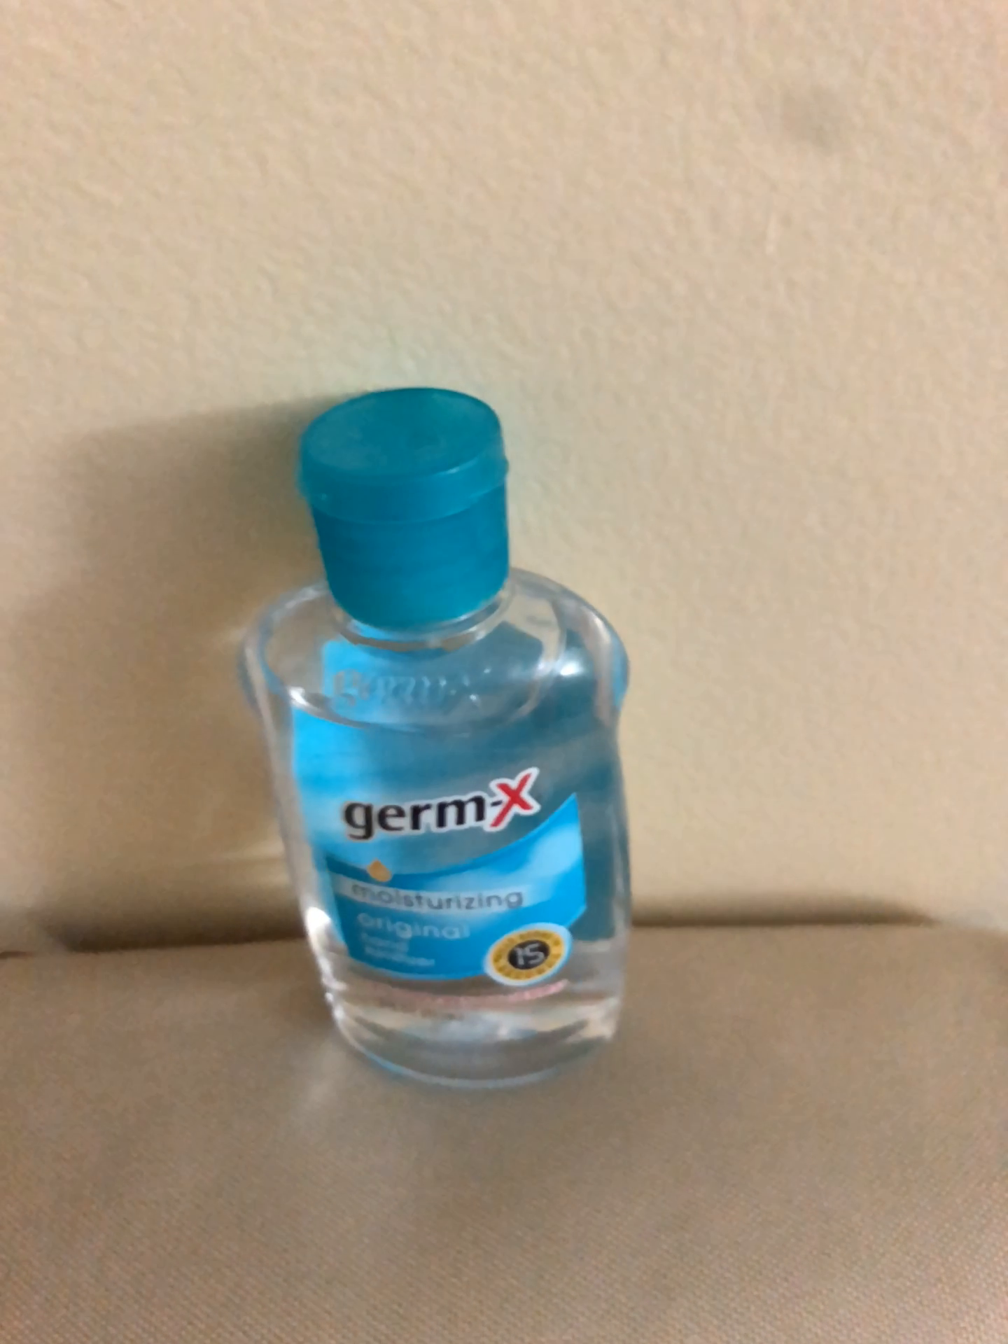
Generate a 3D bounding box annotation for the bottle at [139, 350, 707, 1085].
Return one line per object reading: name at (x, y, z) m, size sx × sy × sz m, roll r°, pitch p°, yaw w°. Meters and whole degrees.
bottle at (-0.007, 0.013, 0.166) m, size 0.060 × 0.110 × 0.030 m, roll -1°, pitch 36°, yaw 1°
